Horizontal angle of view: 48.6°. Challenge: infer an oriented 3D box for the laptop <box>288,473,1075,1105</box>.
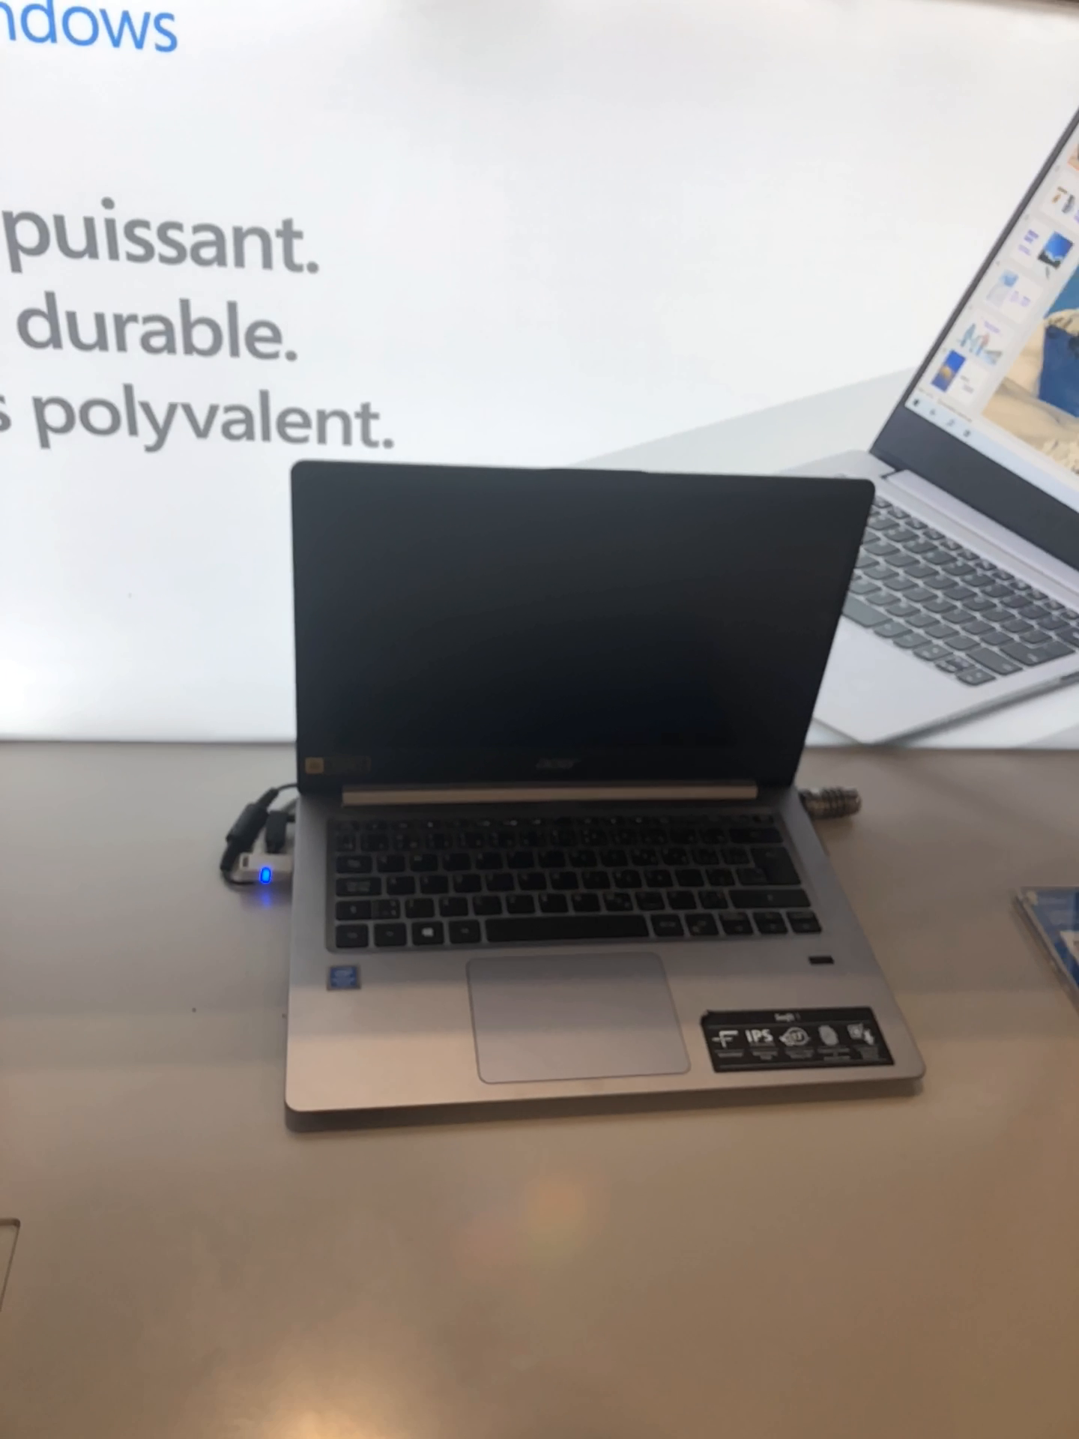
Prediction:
[{"bbox_3d":[0.036,0.025,0.606,0.311,0.210,0.227,0,36,-10],"label":"laptop"}]
